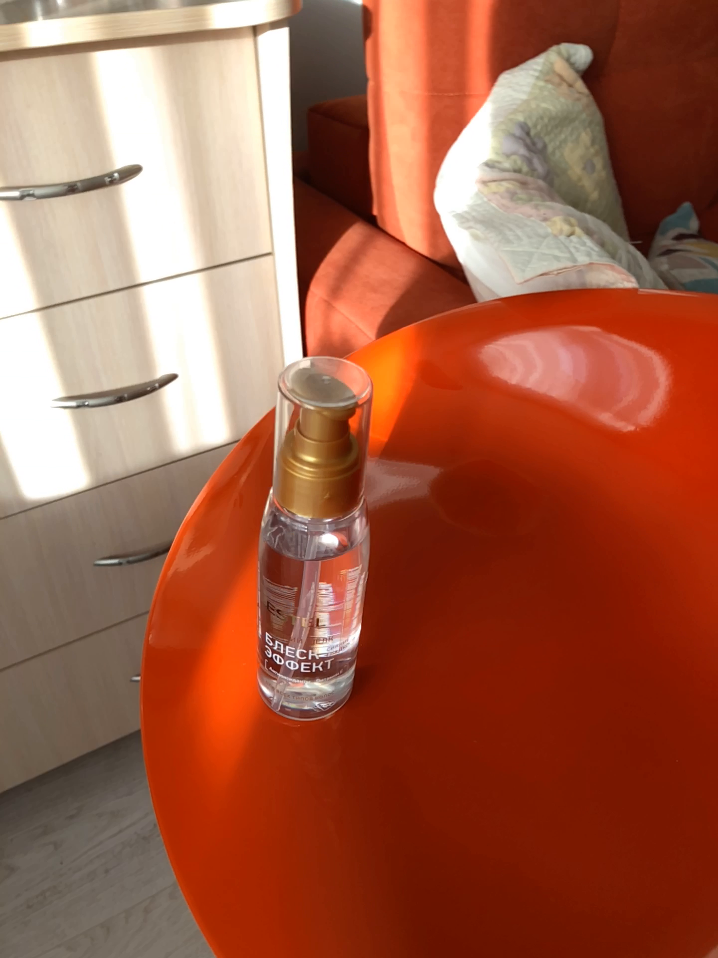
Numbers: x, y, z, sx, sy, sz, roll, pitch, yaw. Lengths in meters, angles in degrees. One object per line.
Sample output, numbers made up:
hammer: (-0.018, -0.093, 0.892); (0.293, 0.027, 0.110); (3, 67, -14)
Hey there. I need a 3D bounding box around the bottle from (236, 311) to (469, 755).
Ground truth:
bottle: (-0.008, 0.024, 0.284); (0.050, 0.149, 0.050); (4, 37, -3)
